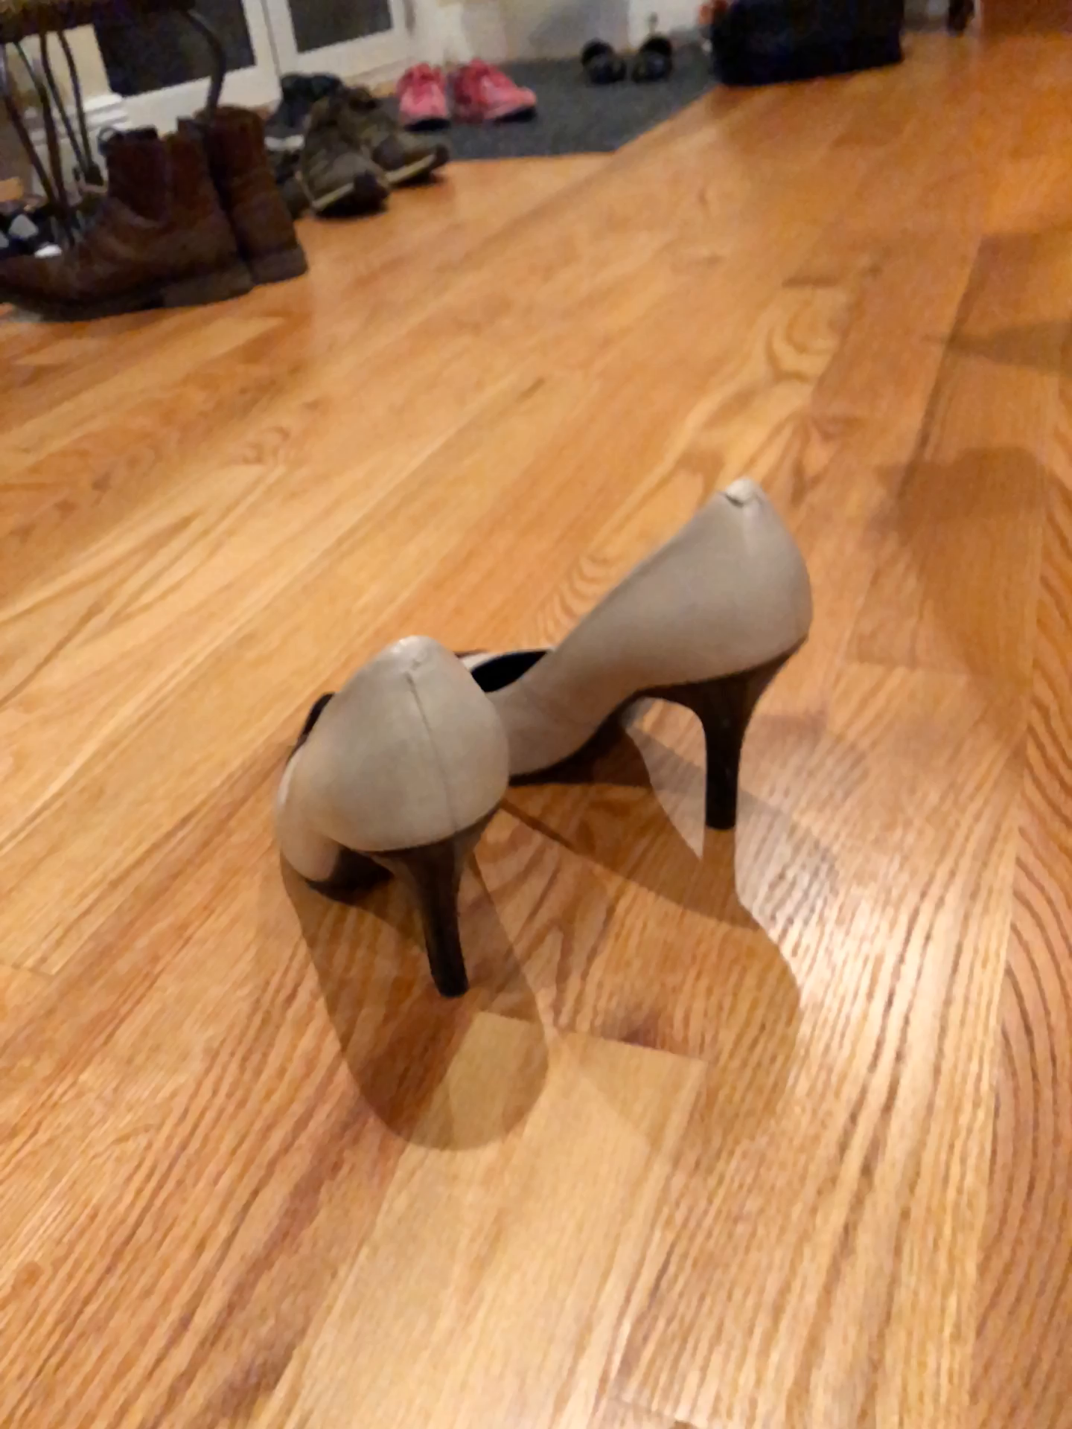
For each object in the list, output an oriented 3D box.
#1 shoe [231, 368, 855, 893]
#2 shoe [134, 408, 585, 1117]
[{"bbox_3d":[-0.001,-0.047,0.482,0.236,0.138,0.085,20,41,36],"label":"shoe"},{"bbox_3d":[-0.073,-0.003,0.430,0.085,0.138,0.236,-17,34,-14],"label":"shoe"}]
